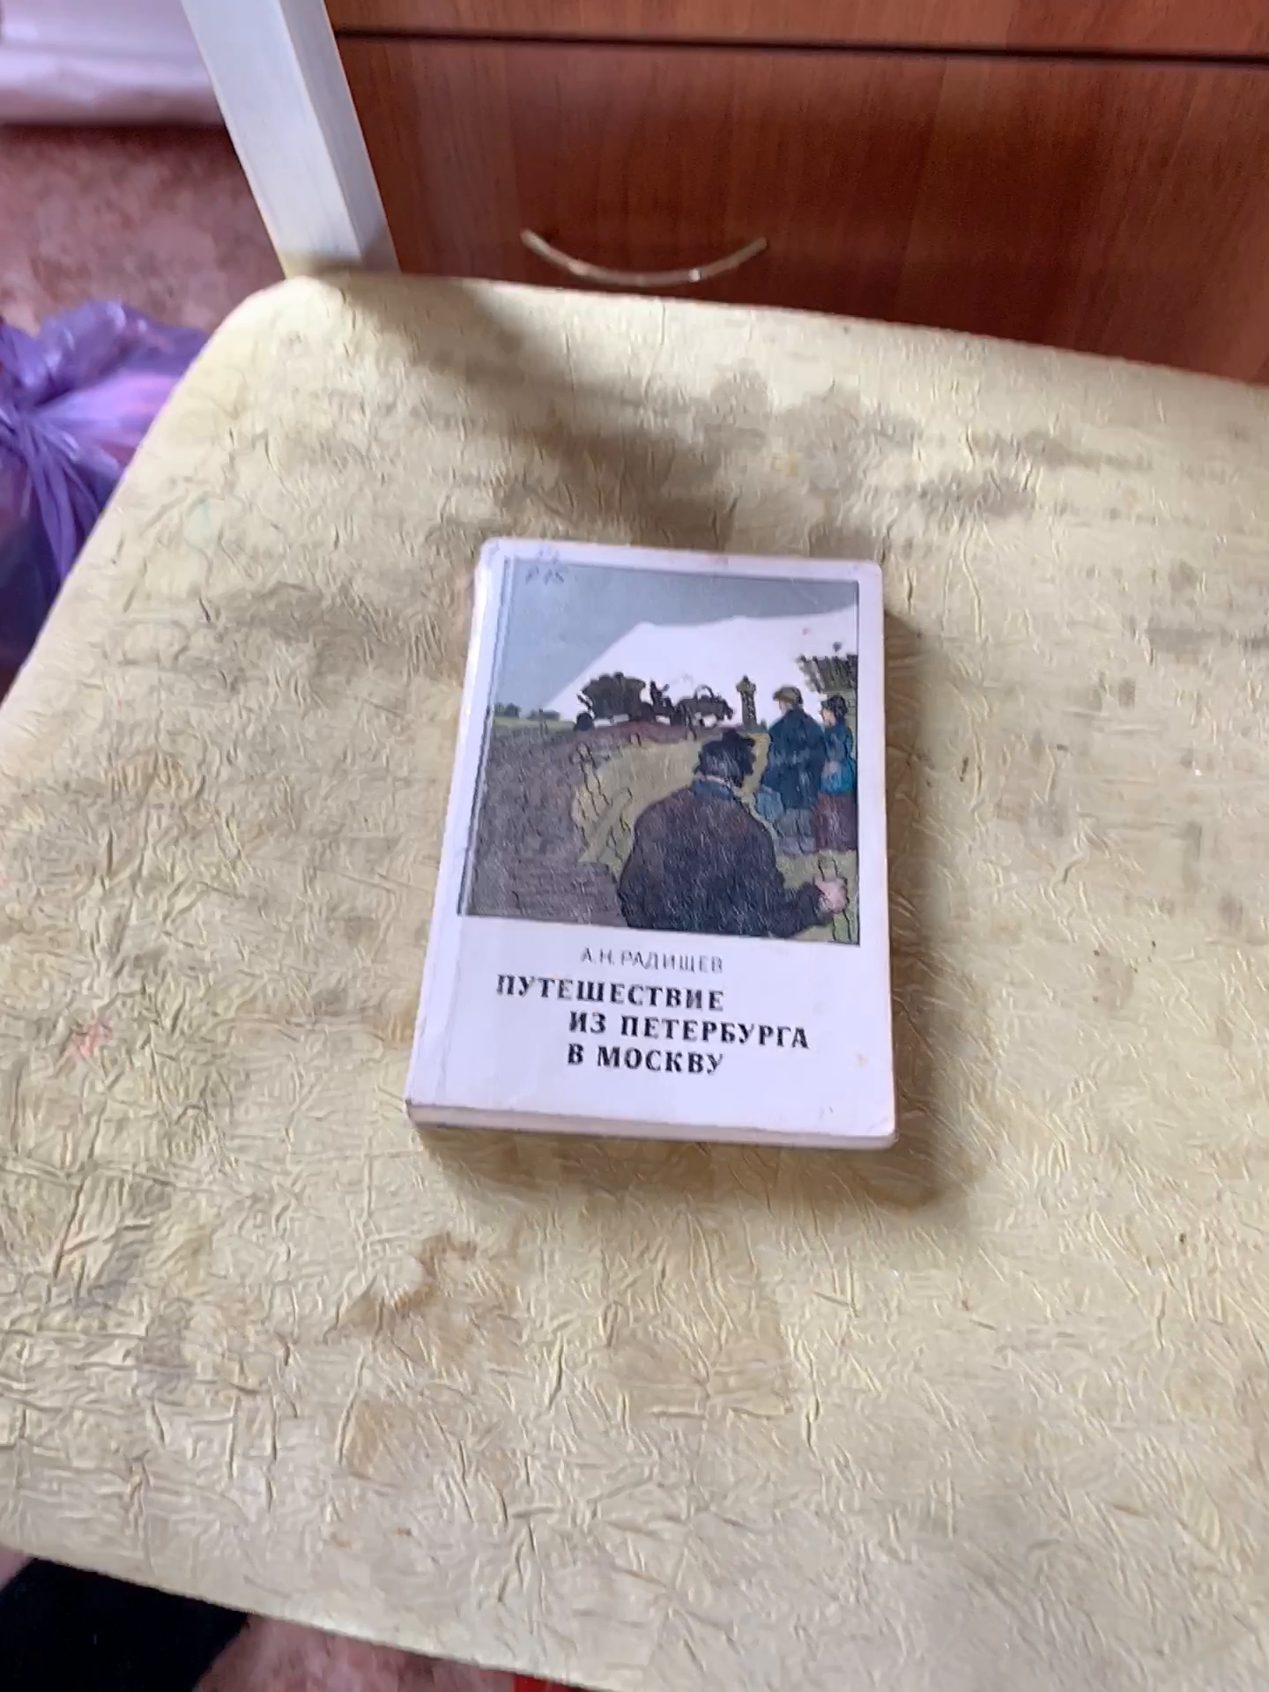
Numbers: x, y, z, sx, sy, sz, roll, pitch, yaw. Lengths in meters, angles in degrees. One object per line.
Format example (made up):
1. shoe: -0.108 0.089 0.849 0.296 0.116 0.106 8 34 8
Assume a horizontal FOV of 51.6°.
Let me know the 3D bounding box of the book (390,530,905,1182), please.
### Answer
1. book: 0.008 -0.004 0.327 0.111 0.020 0.162 4 64 1
